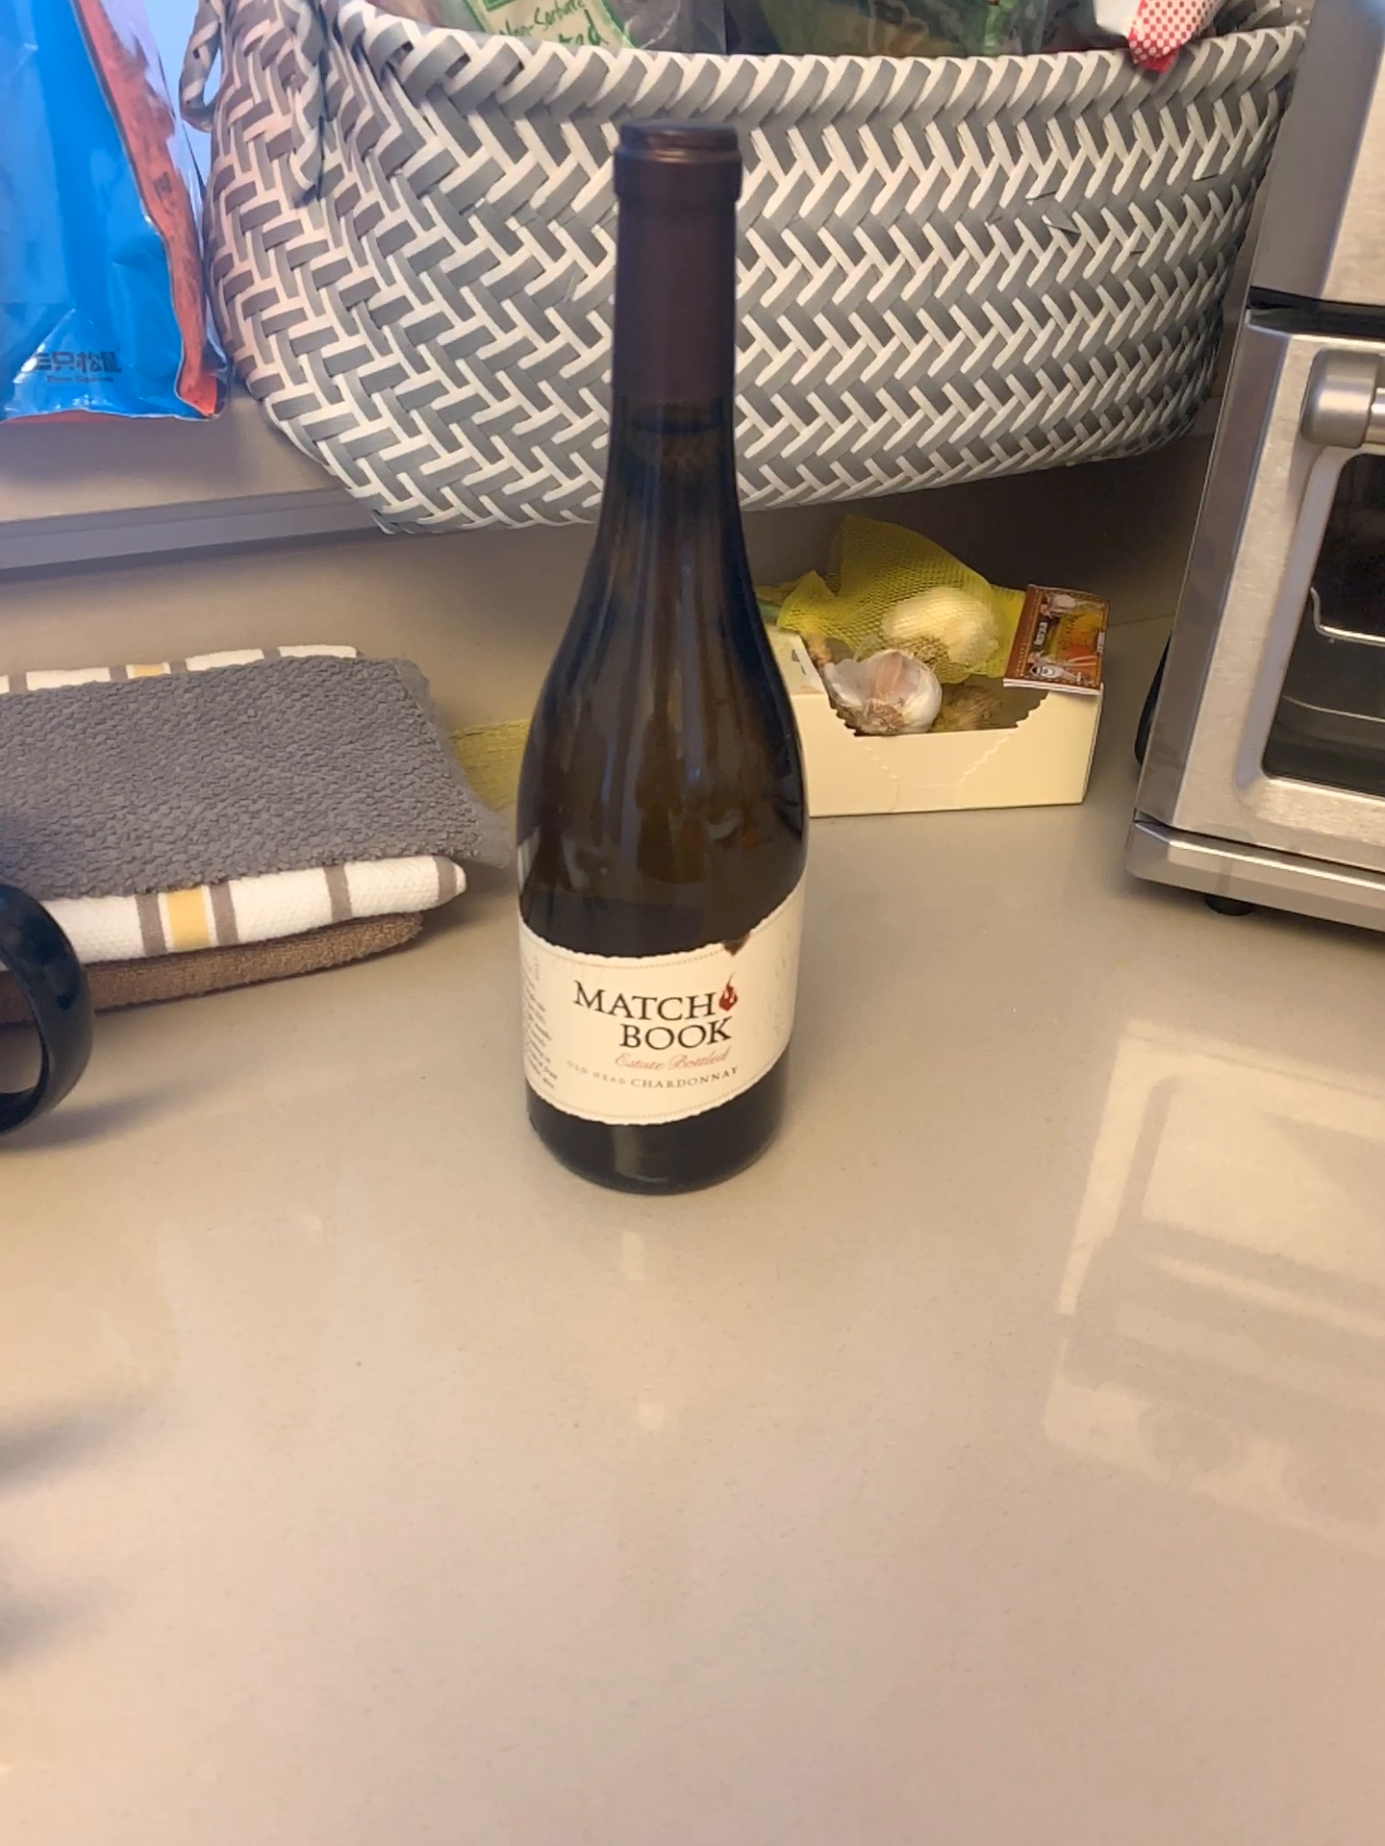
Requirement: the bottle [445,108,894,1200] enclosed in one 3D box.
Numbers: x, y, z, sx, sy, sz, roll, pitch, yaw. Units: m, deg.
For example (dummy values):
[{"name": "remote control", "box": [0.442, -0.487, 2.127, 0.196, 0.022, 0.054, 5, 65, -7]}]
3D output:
[{"name": "bottle", "box": [-0.009, -0.062, 0.406, 0.090, 0.288, 0.101, 0, 33, -2]}]
